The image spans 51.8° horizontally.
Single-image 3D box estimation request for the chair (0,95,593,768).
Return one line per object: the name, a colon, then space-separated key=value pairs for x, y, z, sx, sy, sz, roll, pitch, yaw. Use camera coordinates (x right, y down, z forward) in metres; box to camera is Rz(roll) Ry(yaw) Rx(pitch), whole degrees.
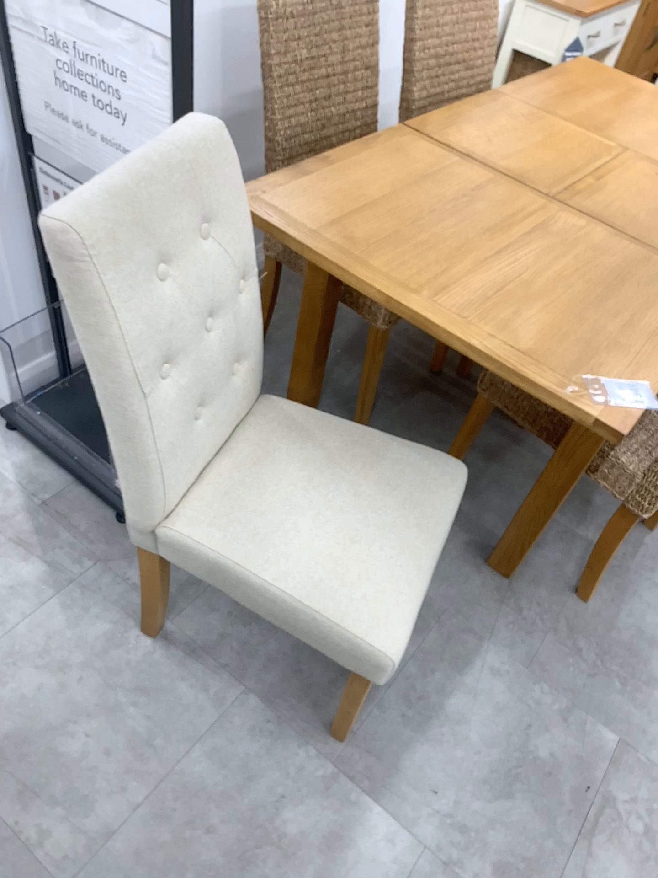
chair: x=-0.077 y=0.051 z=1.089 sx=0.610 sy=0.872 sz=0.424 roll=21 pitch=47 yaw=8
